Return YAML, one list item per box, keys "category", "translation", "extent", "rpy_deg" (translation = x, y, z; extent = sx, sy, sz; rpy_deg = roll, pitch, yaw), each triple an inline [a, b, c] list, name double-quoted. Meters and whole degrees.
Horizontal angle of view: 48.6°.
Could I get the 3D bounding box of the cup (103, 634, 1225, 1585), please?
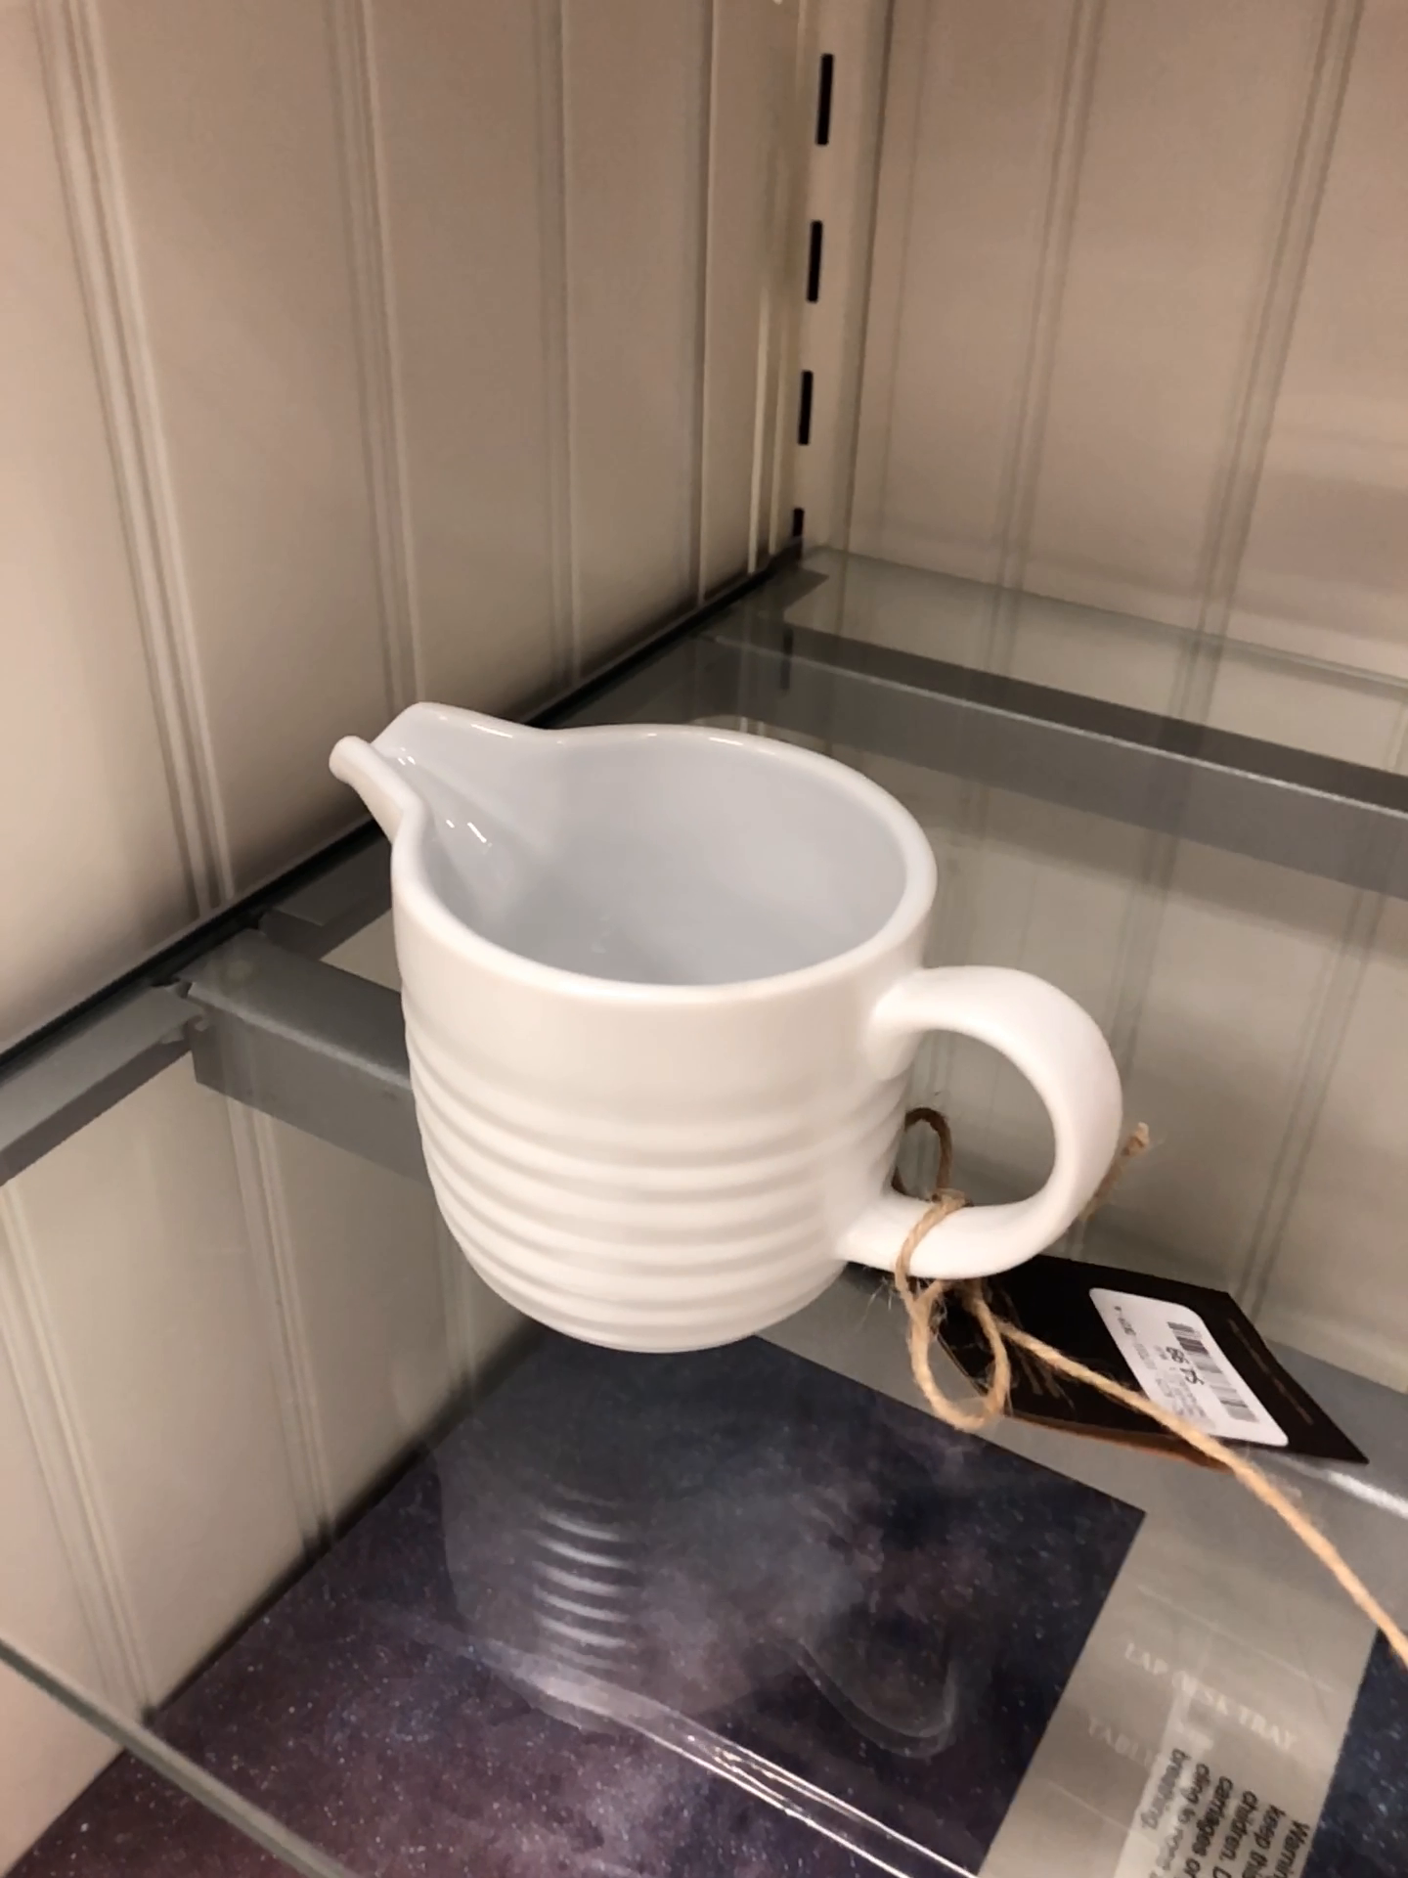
- category: "cup"
  translation: [-0.009, 0.014, 0.235]
  extent: [0.140, 0.069, 0.070]
  rpy_deg: [21, 38, 26]
